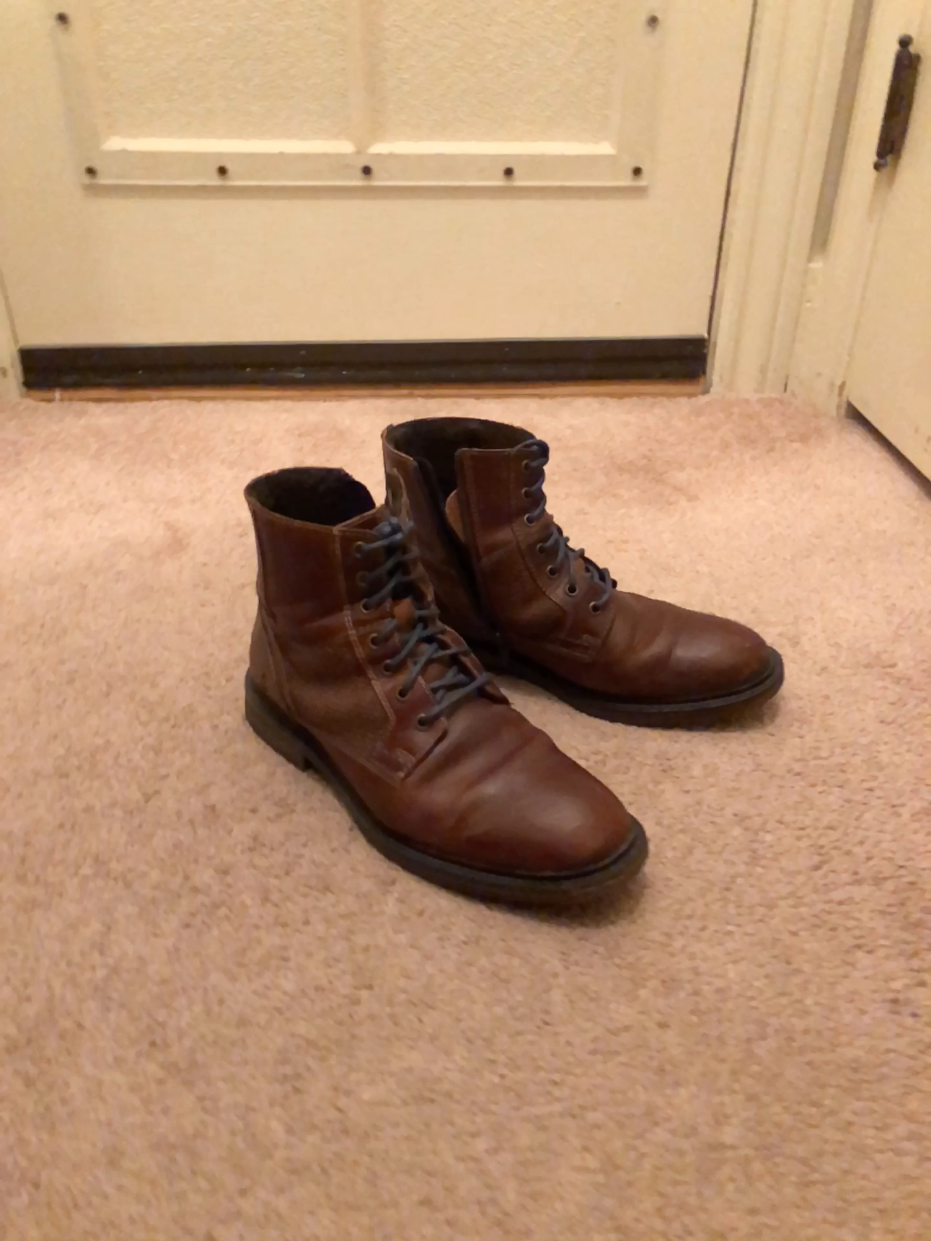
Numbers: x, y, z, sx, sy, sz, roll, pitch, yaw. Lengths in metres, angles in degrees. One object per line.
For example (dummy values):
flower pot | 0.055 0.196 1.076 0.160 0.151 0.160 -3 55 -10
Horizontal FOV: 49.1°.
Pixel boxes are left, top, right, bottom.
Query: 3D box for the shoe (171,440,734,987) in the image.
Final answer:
shoe | -0.023 0.033 0.600 0.316 0.172 0.113 27 41 35

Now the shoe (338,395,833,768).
shoe | 0.076 -0.035 0.707 0.301 0.172 0.111 12 34 18
